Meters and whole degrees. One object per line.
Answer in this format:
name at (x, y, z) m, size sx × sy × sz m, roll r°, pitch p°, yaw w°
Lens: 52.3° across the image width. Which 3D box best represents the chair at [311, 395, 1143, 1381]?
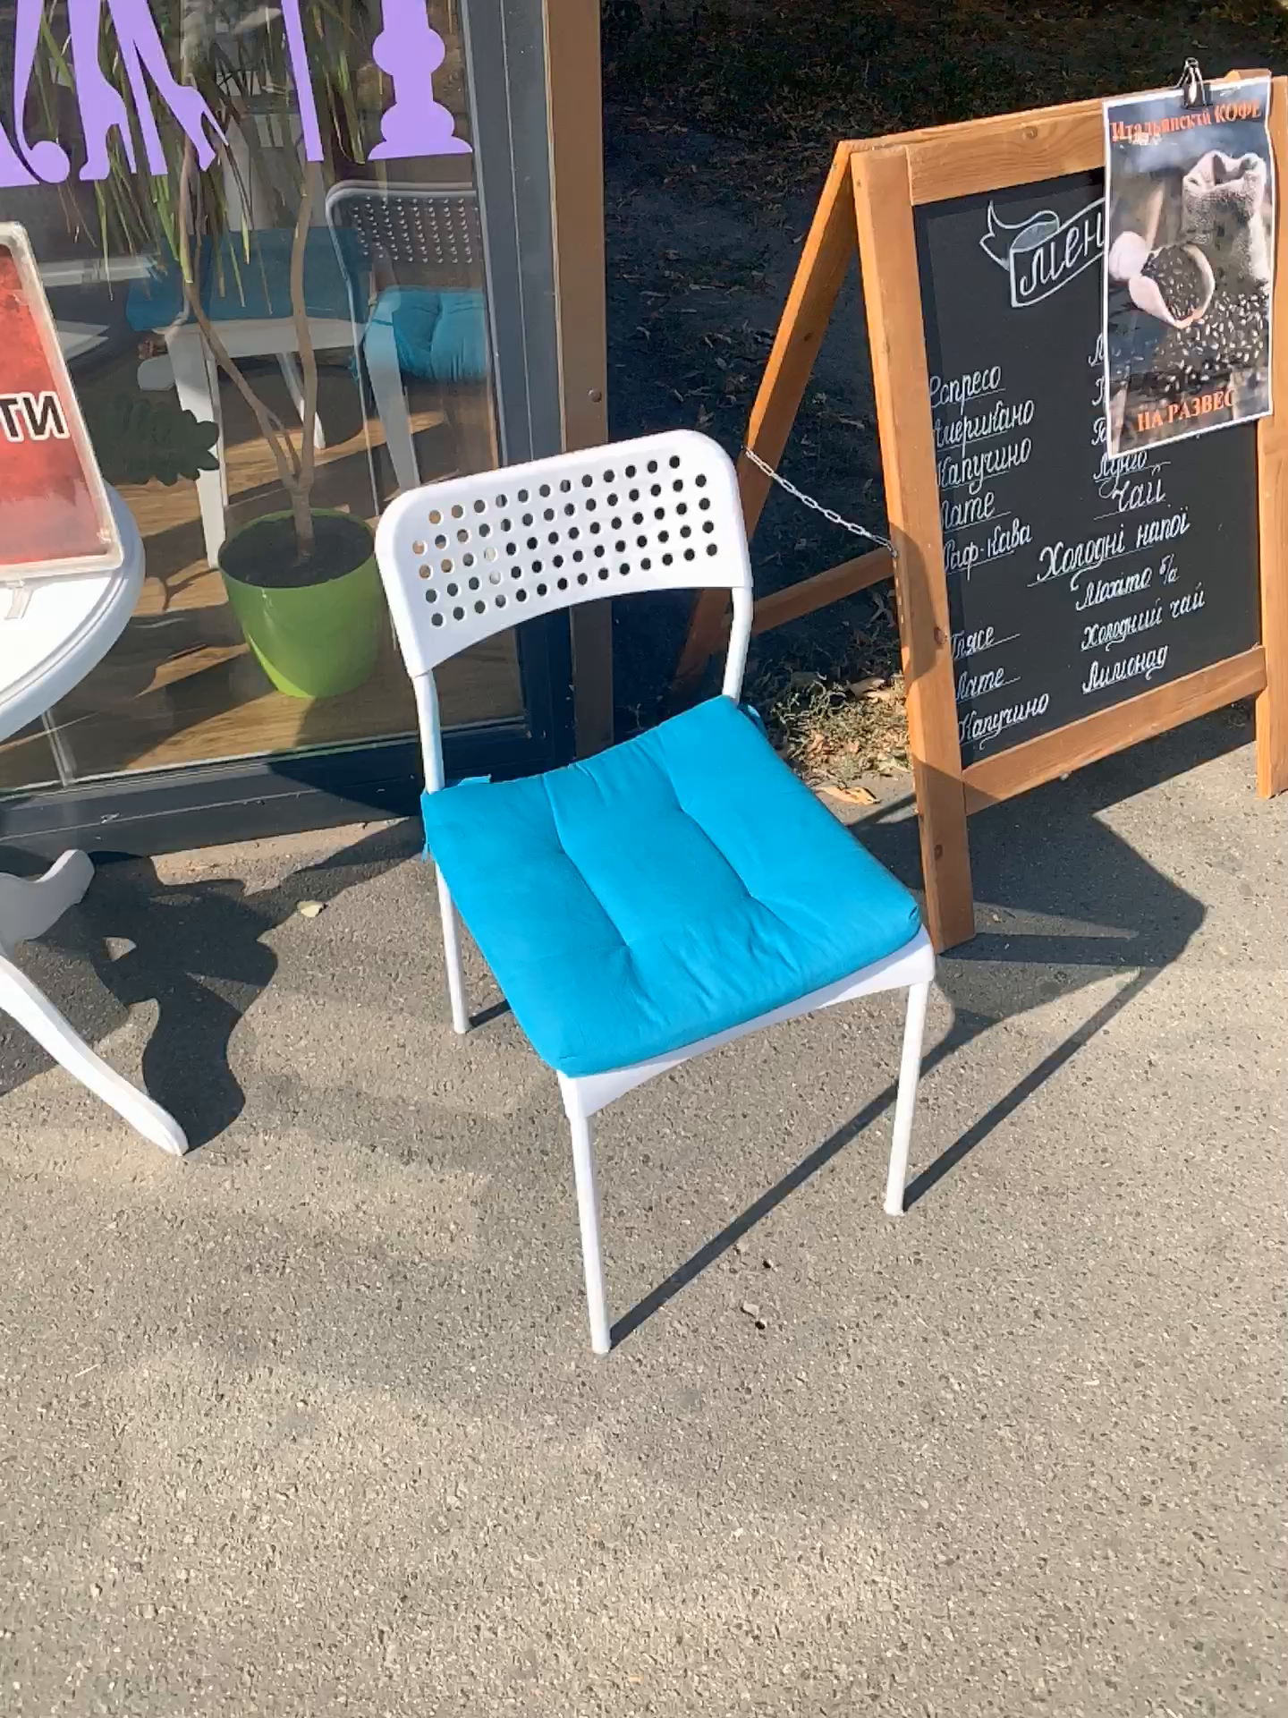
chair at (0.038, 0.022, 1.318) m, size 0.480 × 0.697 × 0.542 m, roll -19°, pitch 46°, yaw -19°
